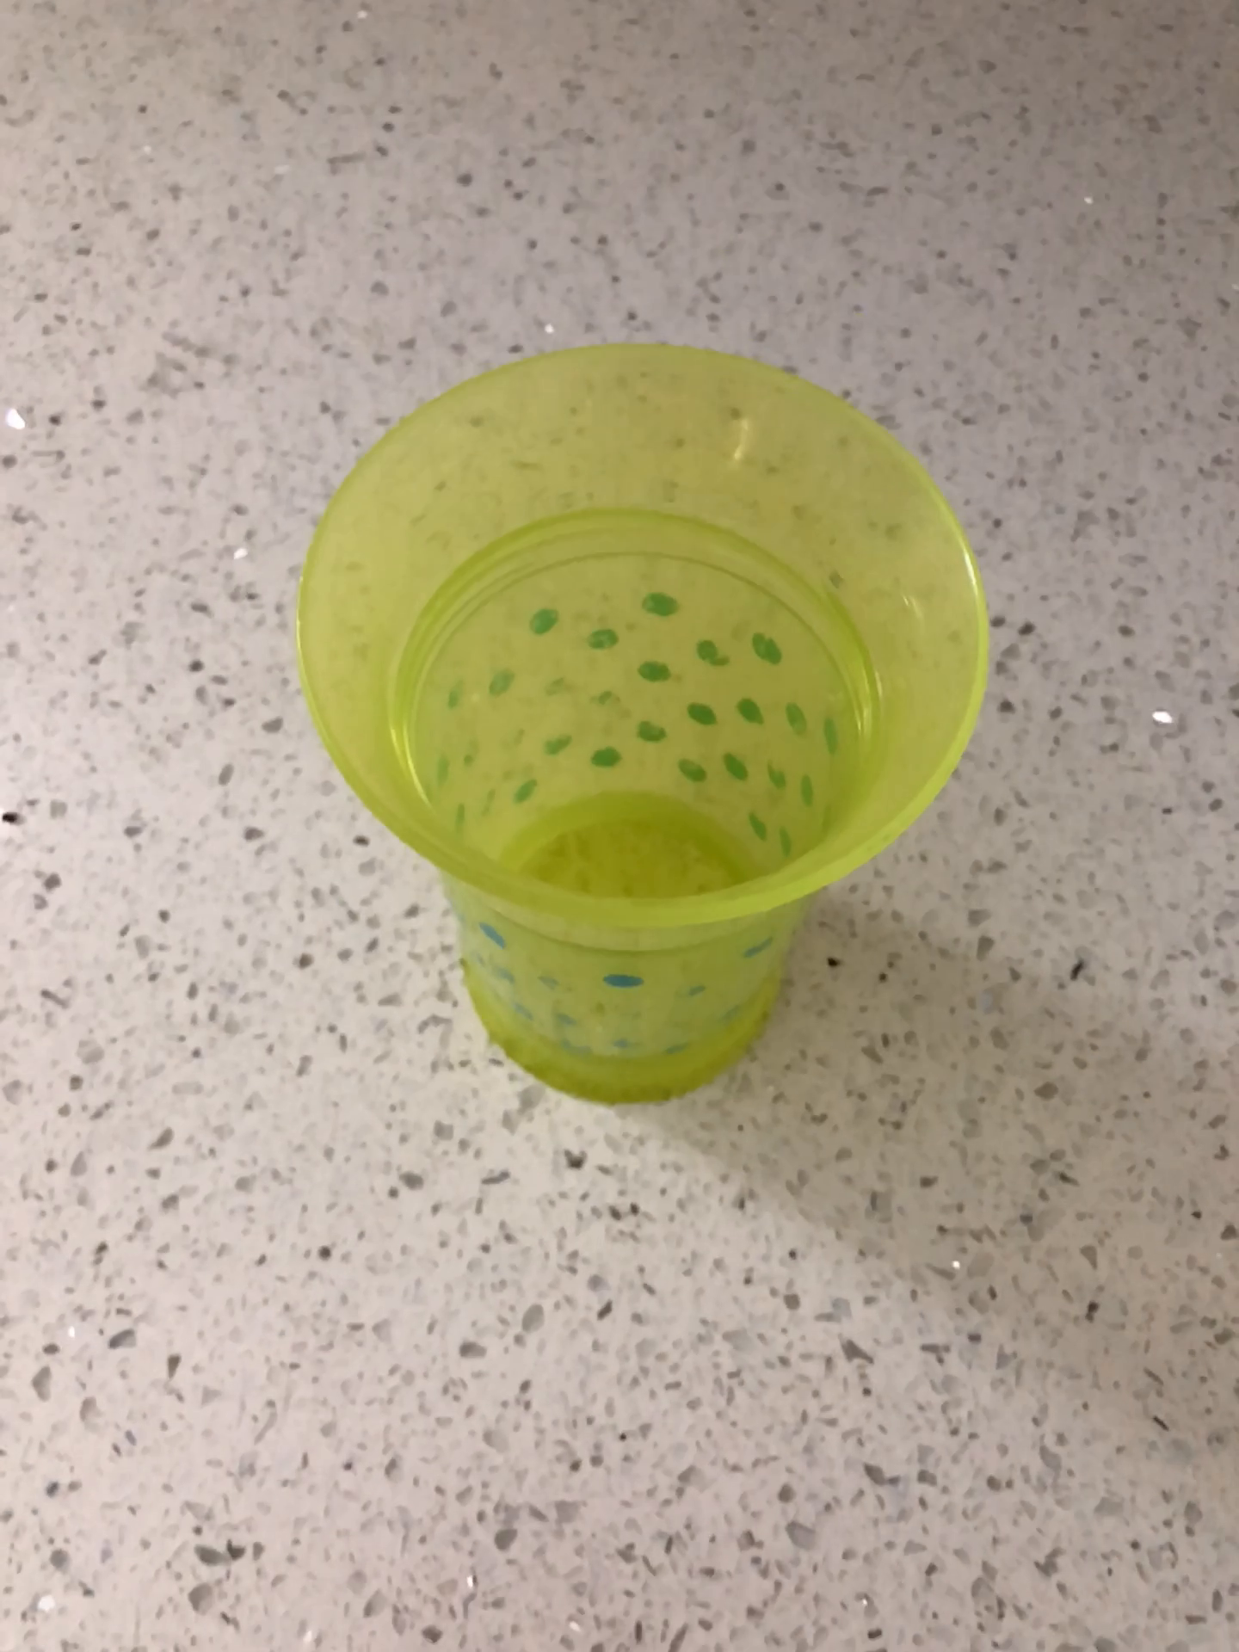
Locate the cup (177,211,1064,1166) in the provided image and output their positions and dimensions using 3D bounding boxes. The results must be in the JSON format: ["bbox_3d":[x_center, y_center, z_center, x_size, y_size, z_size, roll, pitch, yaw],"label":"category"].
[{"bbox_3d":[0.002,-0.012,0.209,0.078,0.109,0.073,0,64,-1],"label":"cup"}]
